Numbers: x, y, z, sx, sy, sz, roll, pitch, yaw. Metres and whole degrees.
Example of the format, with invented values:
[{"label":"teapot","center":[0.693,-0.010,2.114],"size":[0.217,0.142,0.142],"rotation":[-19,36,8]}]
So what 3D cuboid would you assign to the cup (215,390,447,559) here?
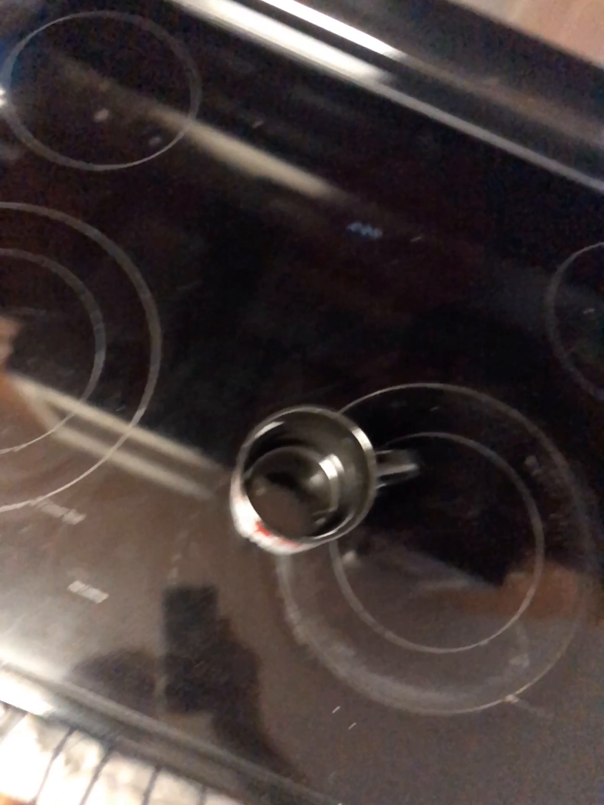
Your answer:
[{"label":"cup","center":[0.011,0.049,0.436],"size":[0.130,0.090,0.090],"rotation":[-1,74,-9]}]
